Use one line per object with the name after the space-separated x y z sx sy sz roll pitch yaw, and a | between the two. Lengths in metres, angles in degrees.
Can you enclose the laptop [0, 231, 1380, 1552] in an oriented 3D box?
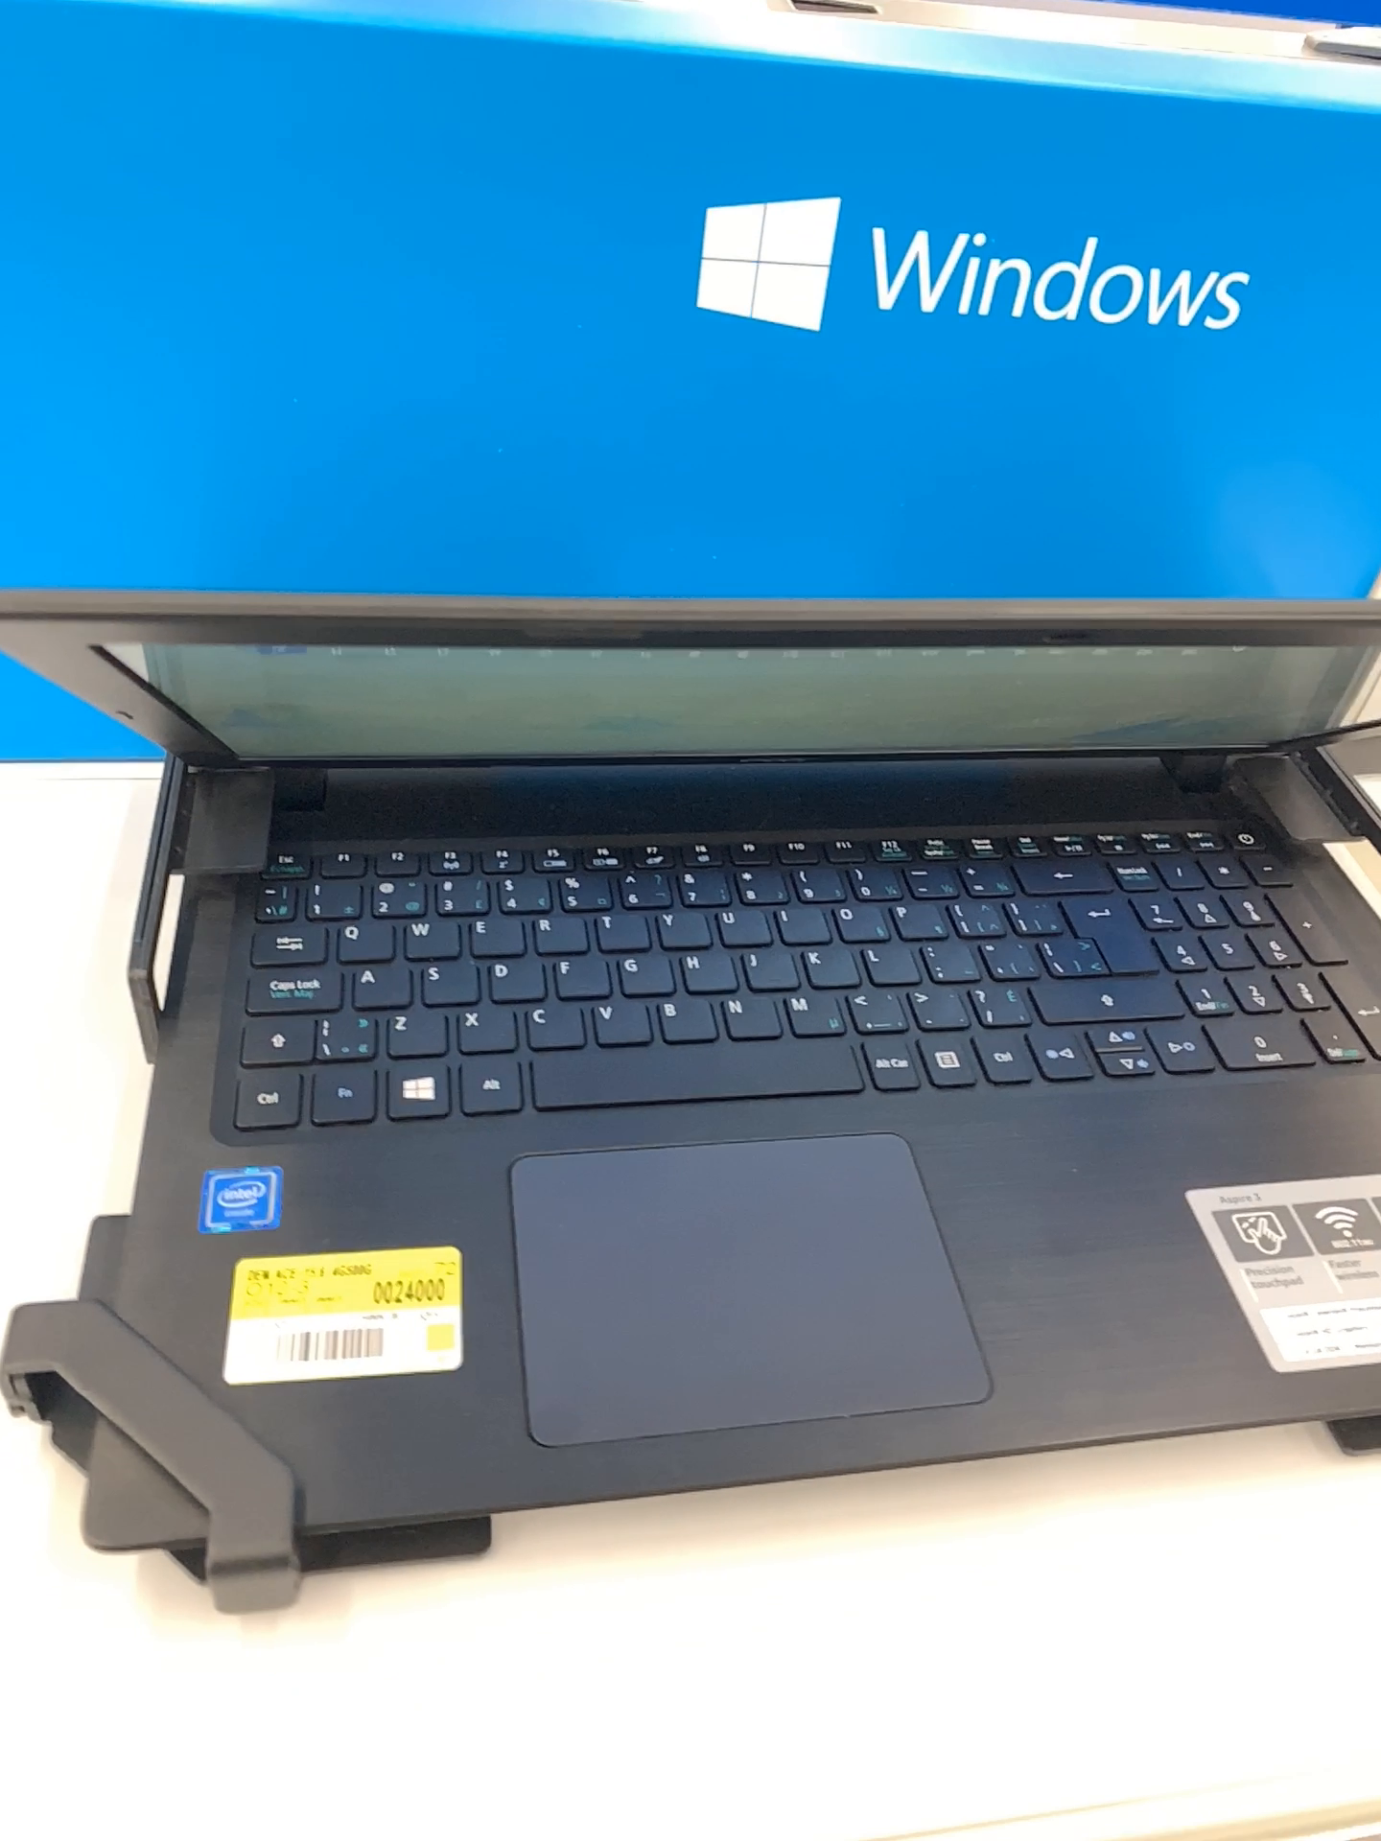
0.051 -0.027 0.316 0.344 0.147 0.227 -2 43 -11 | laptop
